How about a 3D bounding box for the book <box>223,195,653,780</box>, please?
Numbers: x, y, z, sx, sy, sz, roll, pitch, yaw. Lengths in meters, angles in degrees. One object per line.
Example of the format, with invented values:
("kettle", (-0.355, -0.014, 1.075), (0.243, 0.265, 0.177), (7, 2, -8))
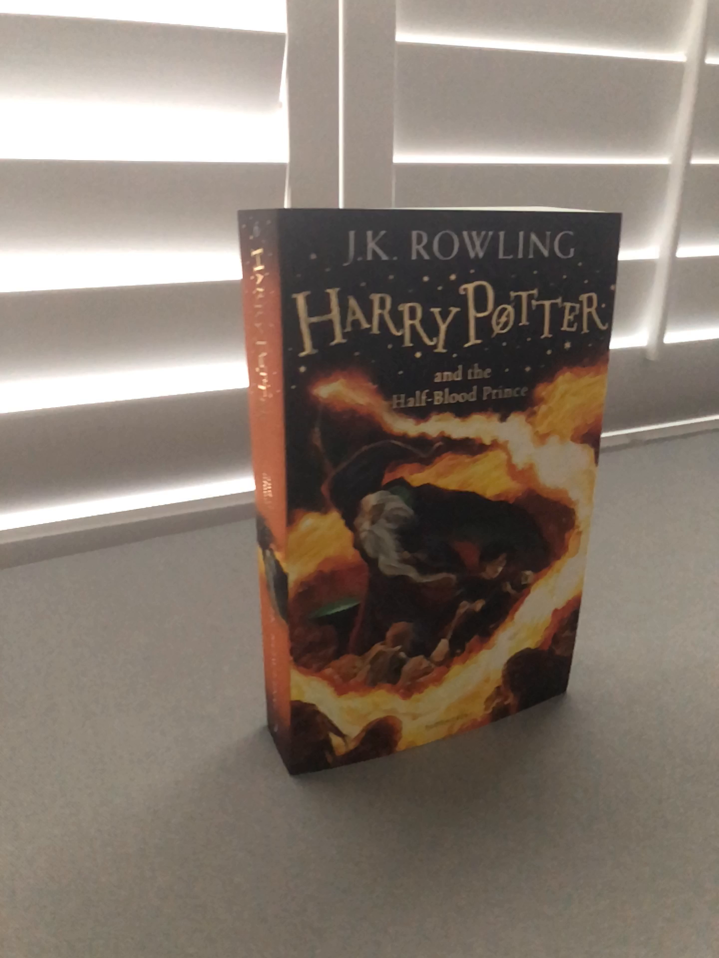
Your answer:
("book", (0.031, -0.003, 0.301), (0.142, 0.194, 0.047), (-9, 19, -23))
